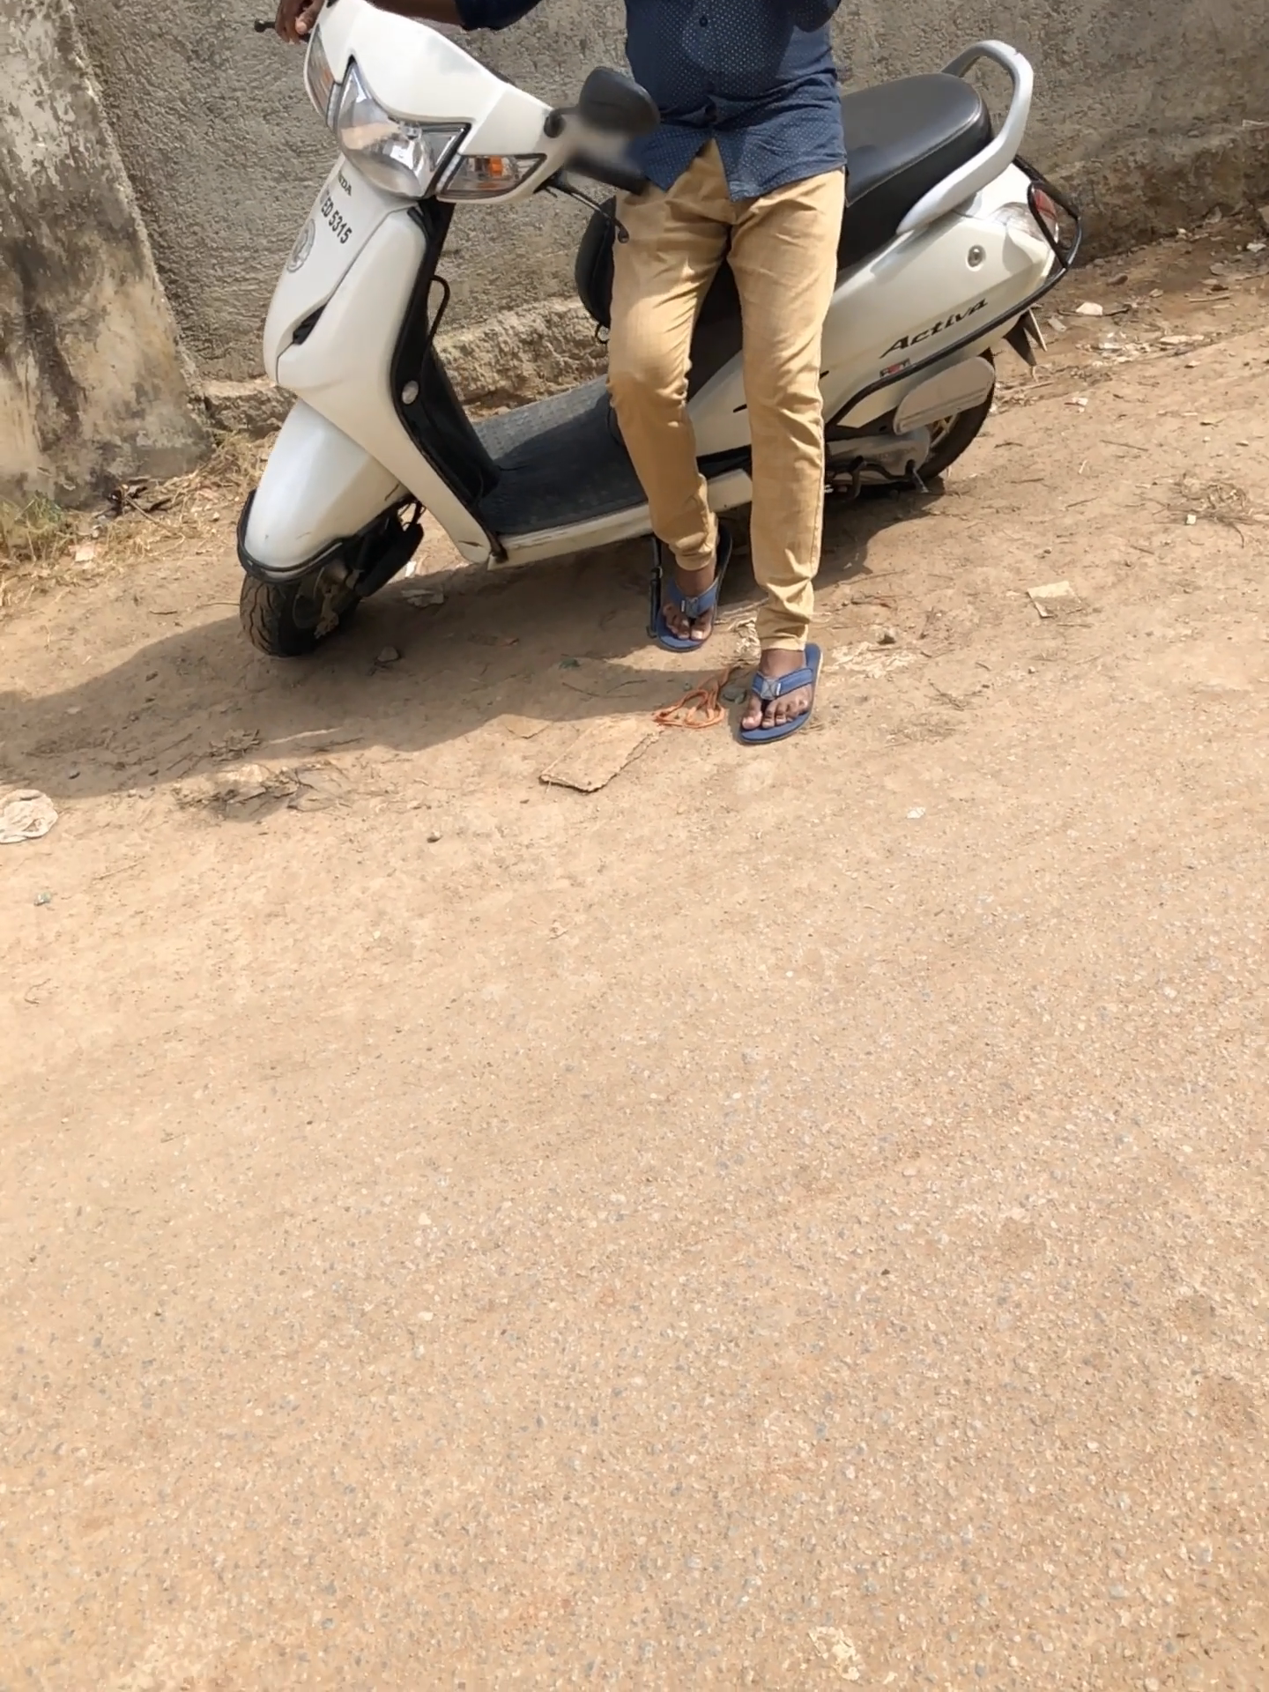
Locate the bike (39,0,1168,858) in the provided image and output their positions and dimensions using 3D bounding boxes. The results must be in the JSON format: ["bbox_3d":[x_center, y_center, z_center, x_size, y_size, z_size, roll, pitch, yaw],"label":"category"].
[{"bbox_3d":[0.016,-0.886,2.466,1.625,1.139,0.671,-19,37,-11],"label":"bike"}]
